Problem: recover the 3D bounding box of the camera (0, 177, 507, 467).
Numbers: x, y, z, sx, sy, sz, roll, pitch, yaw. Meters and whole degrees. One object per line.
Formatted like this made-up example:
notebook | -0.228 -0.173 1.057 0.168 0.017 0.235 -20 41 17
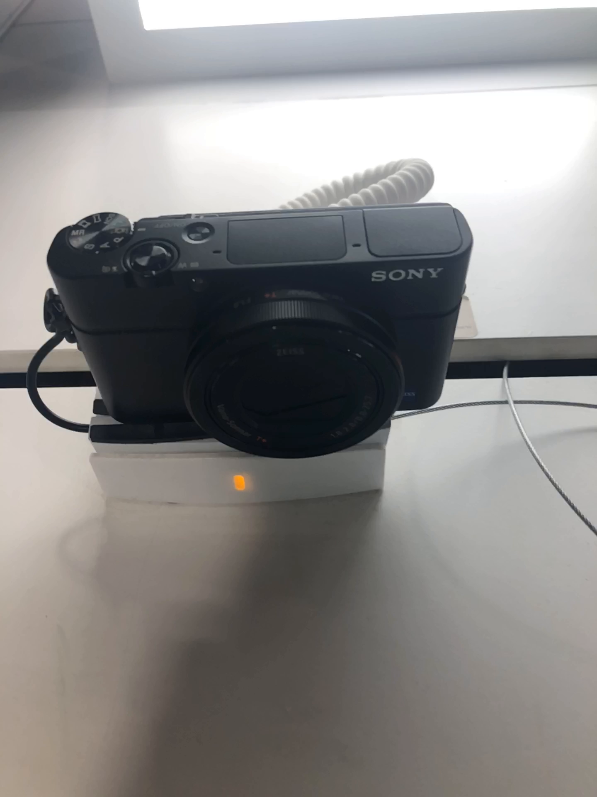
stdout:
camera | -0.009 -0.018 0.166 0.102 0.051 0.041 -3 48 2
